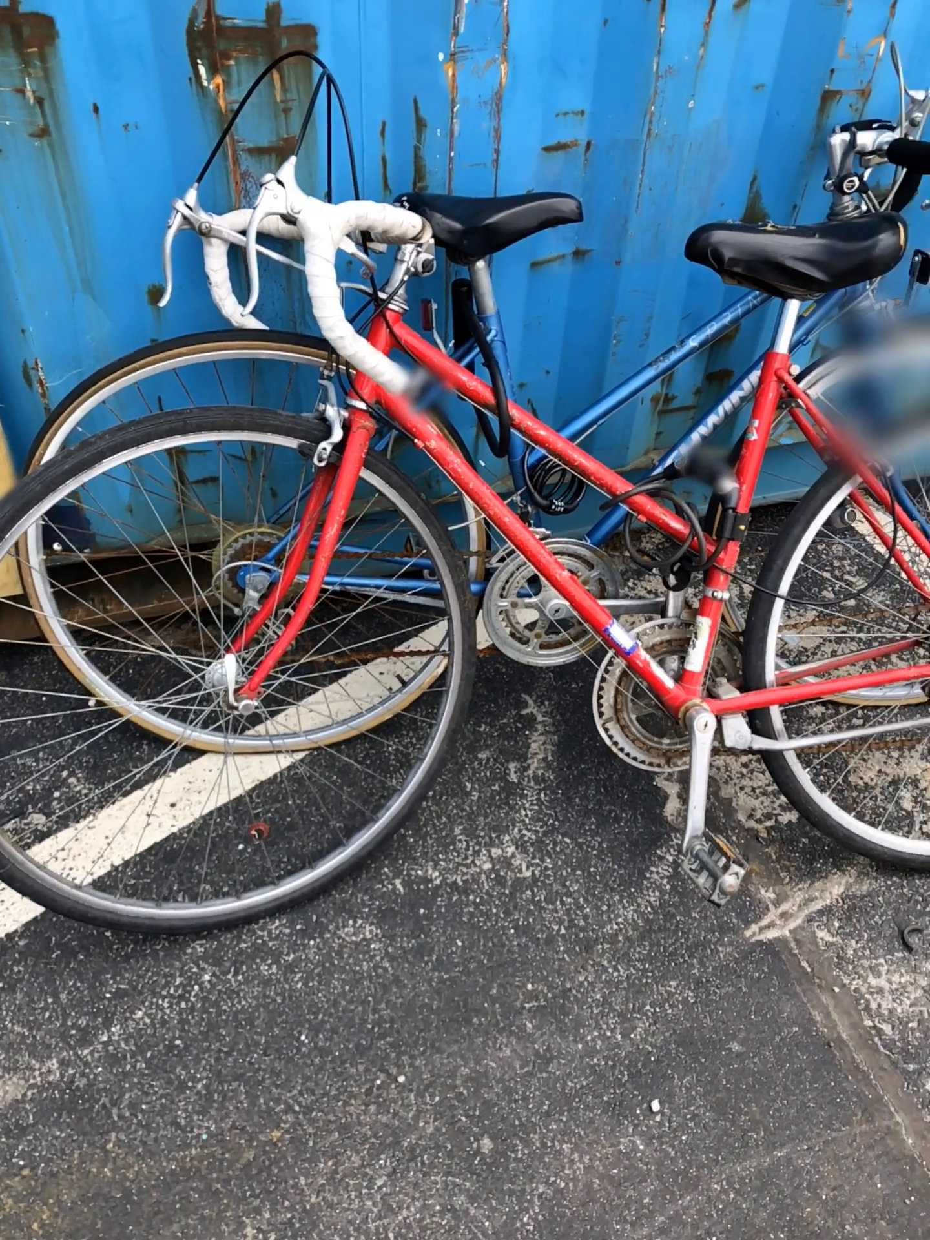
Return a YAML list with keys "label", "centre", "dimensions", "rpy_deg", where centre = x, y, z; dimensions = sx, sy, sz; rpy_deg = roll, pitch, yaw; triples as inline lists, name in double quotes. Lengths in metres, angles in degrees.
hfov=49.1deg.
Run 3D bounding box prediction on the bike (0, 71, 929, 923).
- label: "bike"
  centre: [0.200, -0.156, 1.340]
  dimensions: [1.640, 0.824, 0.485]
  rpy_deg: [-6, 44, -13]
